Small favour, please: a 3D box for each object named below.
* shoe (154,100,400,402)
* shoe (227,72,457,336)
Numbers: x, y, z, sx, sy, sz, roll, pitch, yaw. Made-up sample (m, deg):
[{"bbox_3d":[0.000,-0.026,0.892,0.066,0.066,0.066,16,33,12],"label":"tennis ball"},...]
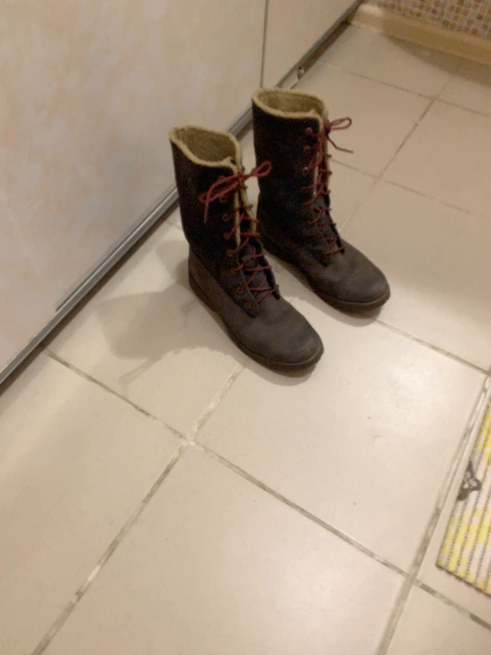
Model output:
[{"bbox_3d":[0.016,-0.092,0.627,0.100,0.249,0.281,-33,62,-25],"label":"shoe"},{"bbox_3d":[0.109,-0.166,0.711,0.100,0.249,0.280,-40,68,-20],"label":"shoe"}]
